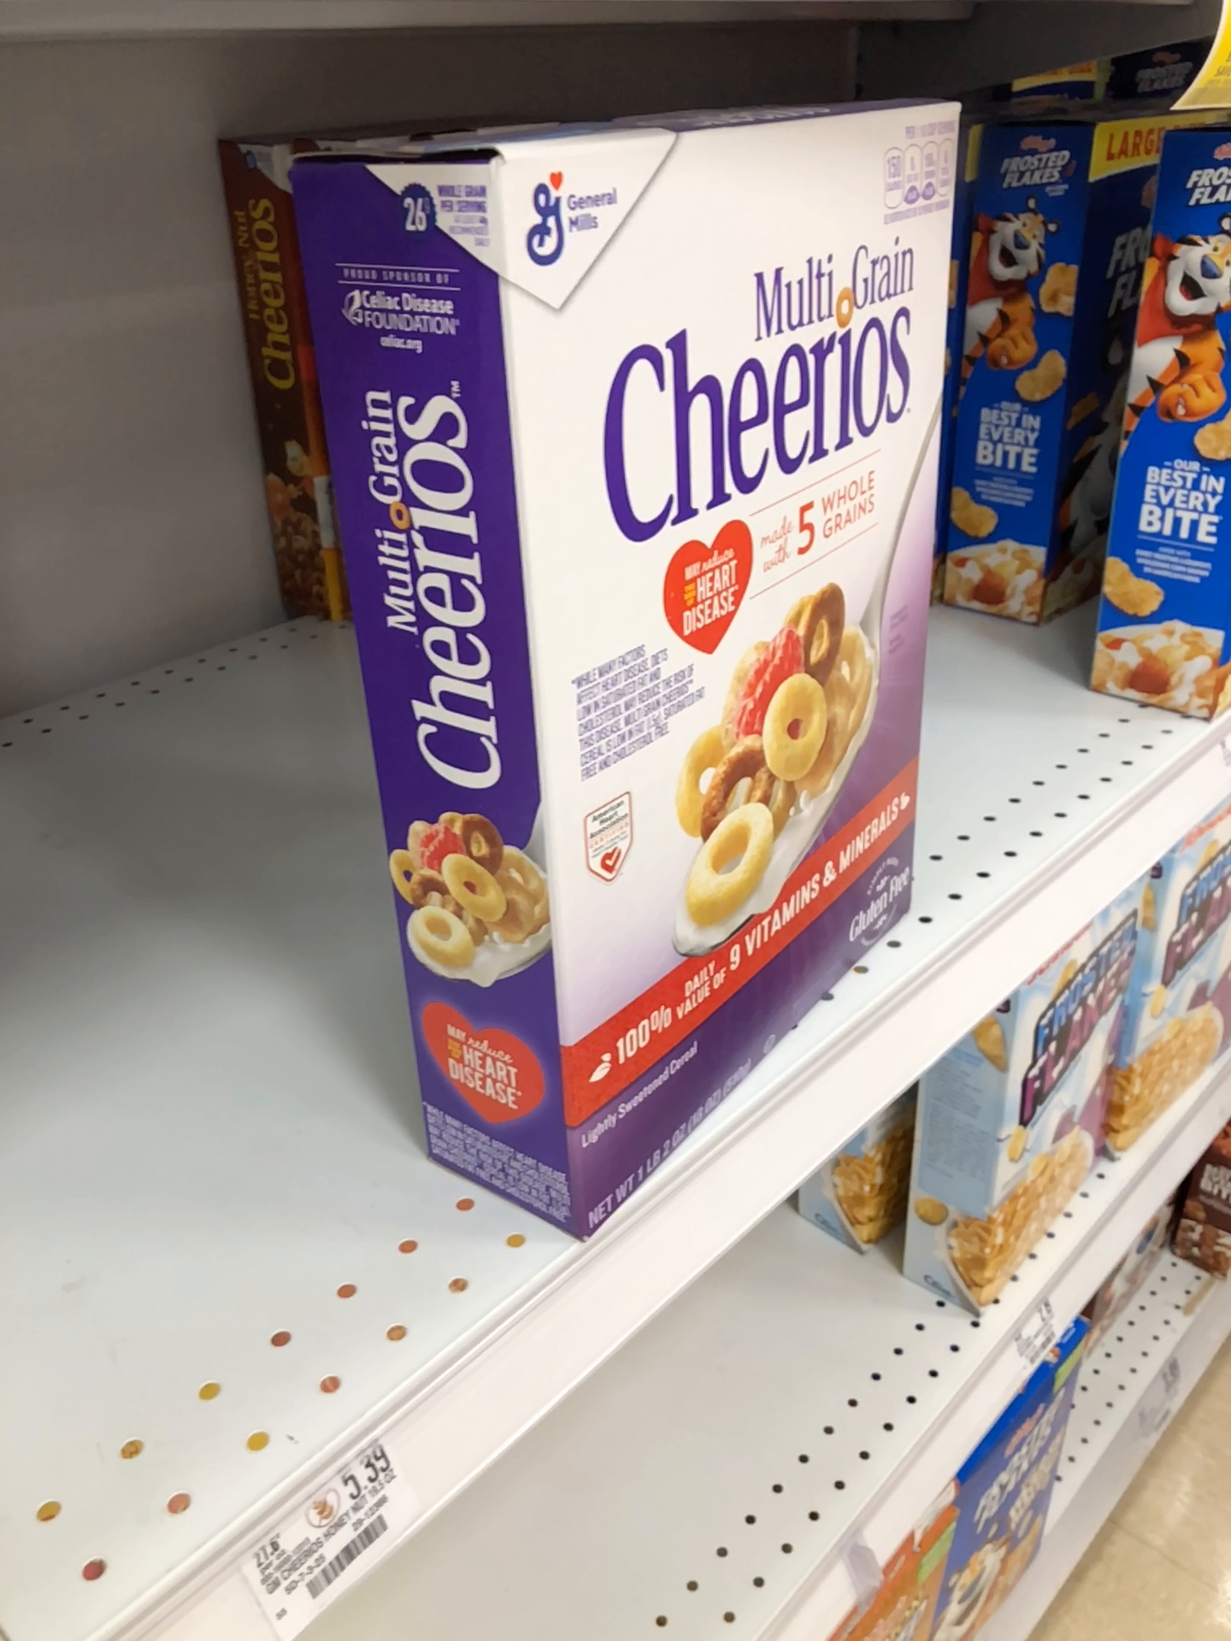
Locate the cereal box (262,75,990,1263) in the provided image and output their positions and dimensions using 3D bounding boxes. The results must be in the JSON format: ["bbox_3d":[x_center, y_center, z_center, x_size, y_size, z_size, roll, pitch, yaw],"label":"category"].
[{"bbox_3d":[0.029,-0.064,0.470,0.070,0.329,0.260,18,35,32],"label":"cereal box"}]
